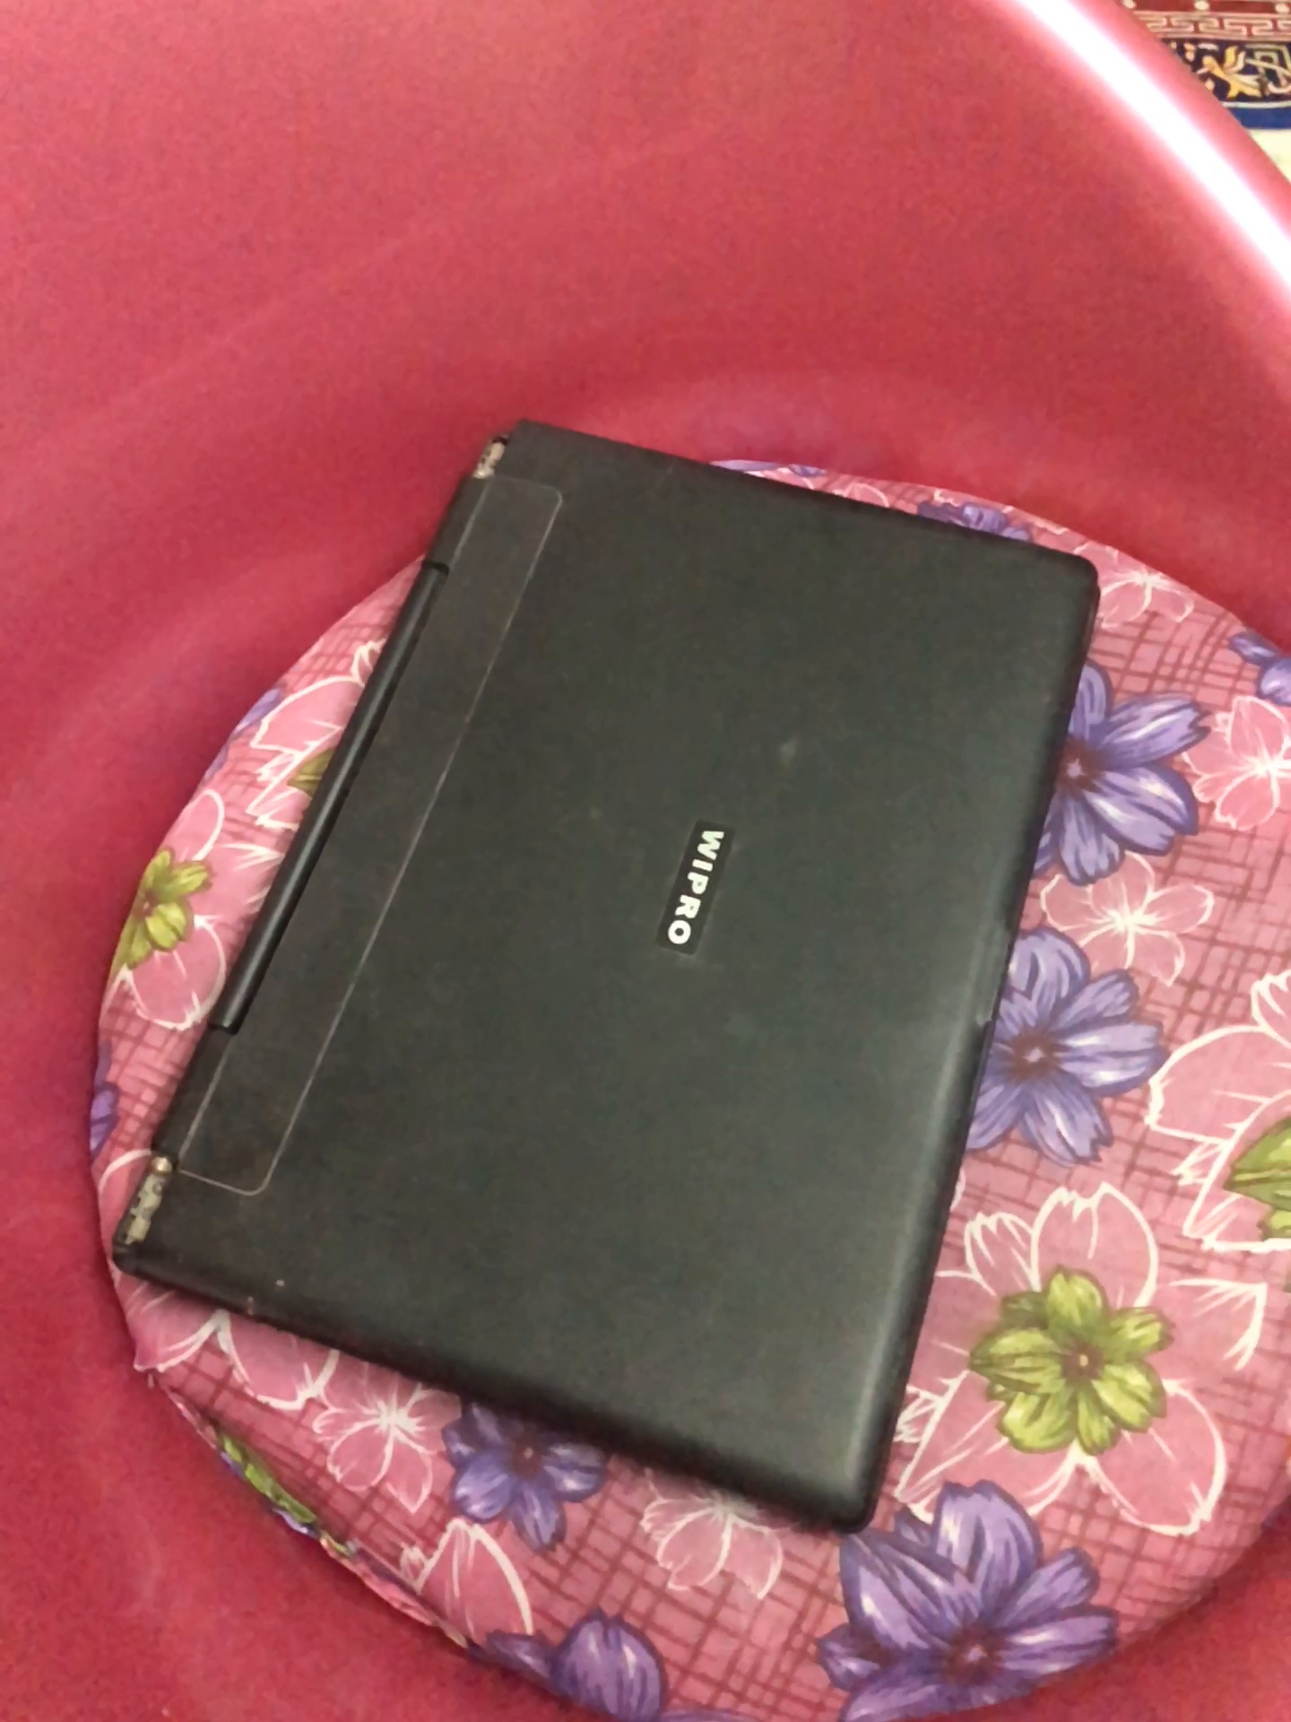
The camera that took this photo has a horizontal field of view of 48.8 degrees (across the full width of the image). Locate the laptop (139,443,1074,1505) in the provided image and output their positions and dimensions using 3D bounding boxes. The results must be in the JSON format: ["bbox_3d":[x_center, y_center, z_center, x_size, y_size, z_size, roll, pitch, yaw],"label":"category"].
[{"bbox_3d":[0.000,0.010,0.478,0.220,0.006,0.322,16,68,10],"label":"laptop"}]
